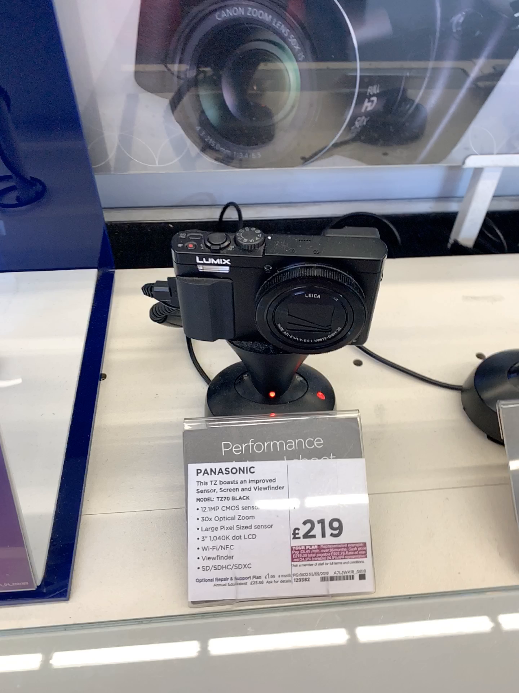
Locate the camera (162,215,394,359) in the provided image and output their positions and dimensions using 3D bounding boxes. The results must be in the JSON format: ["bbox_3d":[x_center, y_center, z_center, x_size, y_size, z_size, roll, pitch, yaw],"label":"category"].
[{"bbox_3d":[0.009,-0.030,0.289,0.110,0.069,0.030,3,47,1],"label":"camera"}]
